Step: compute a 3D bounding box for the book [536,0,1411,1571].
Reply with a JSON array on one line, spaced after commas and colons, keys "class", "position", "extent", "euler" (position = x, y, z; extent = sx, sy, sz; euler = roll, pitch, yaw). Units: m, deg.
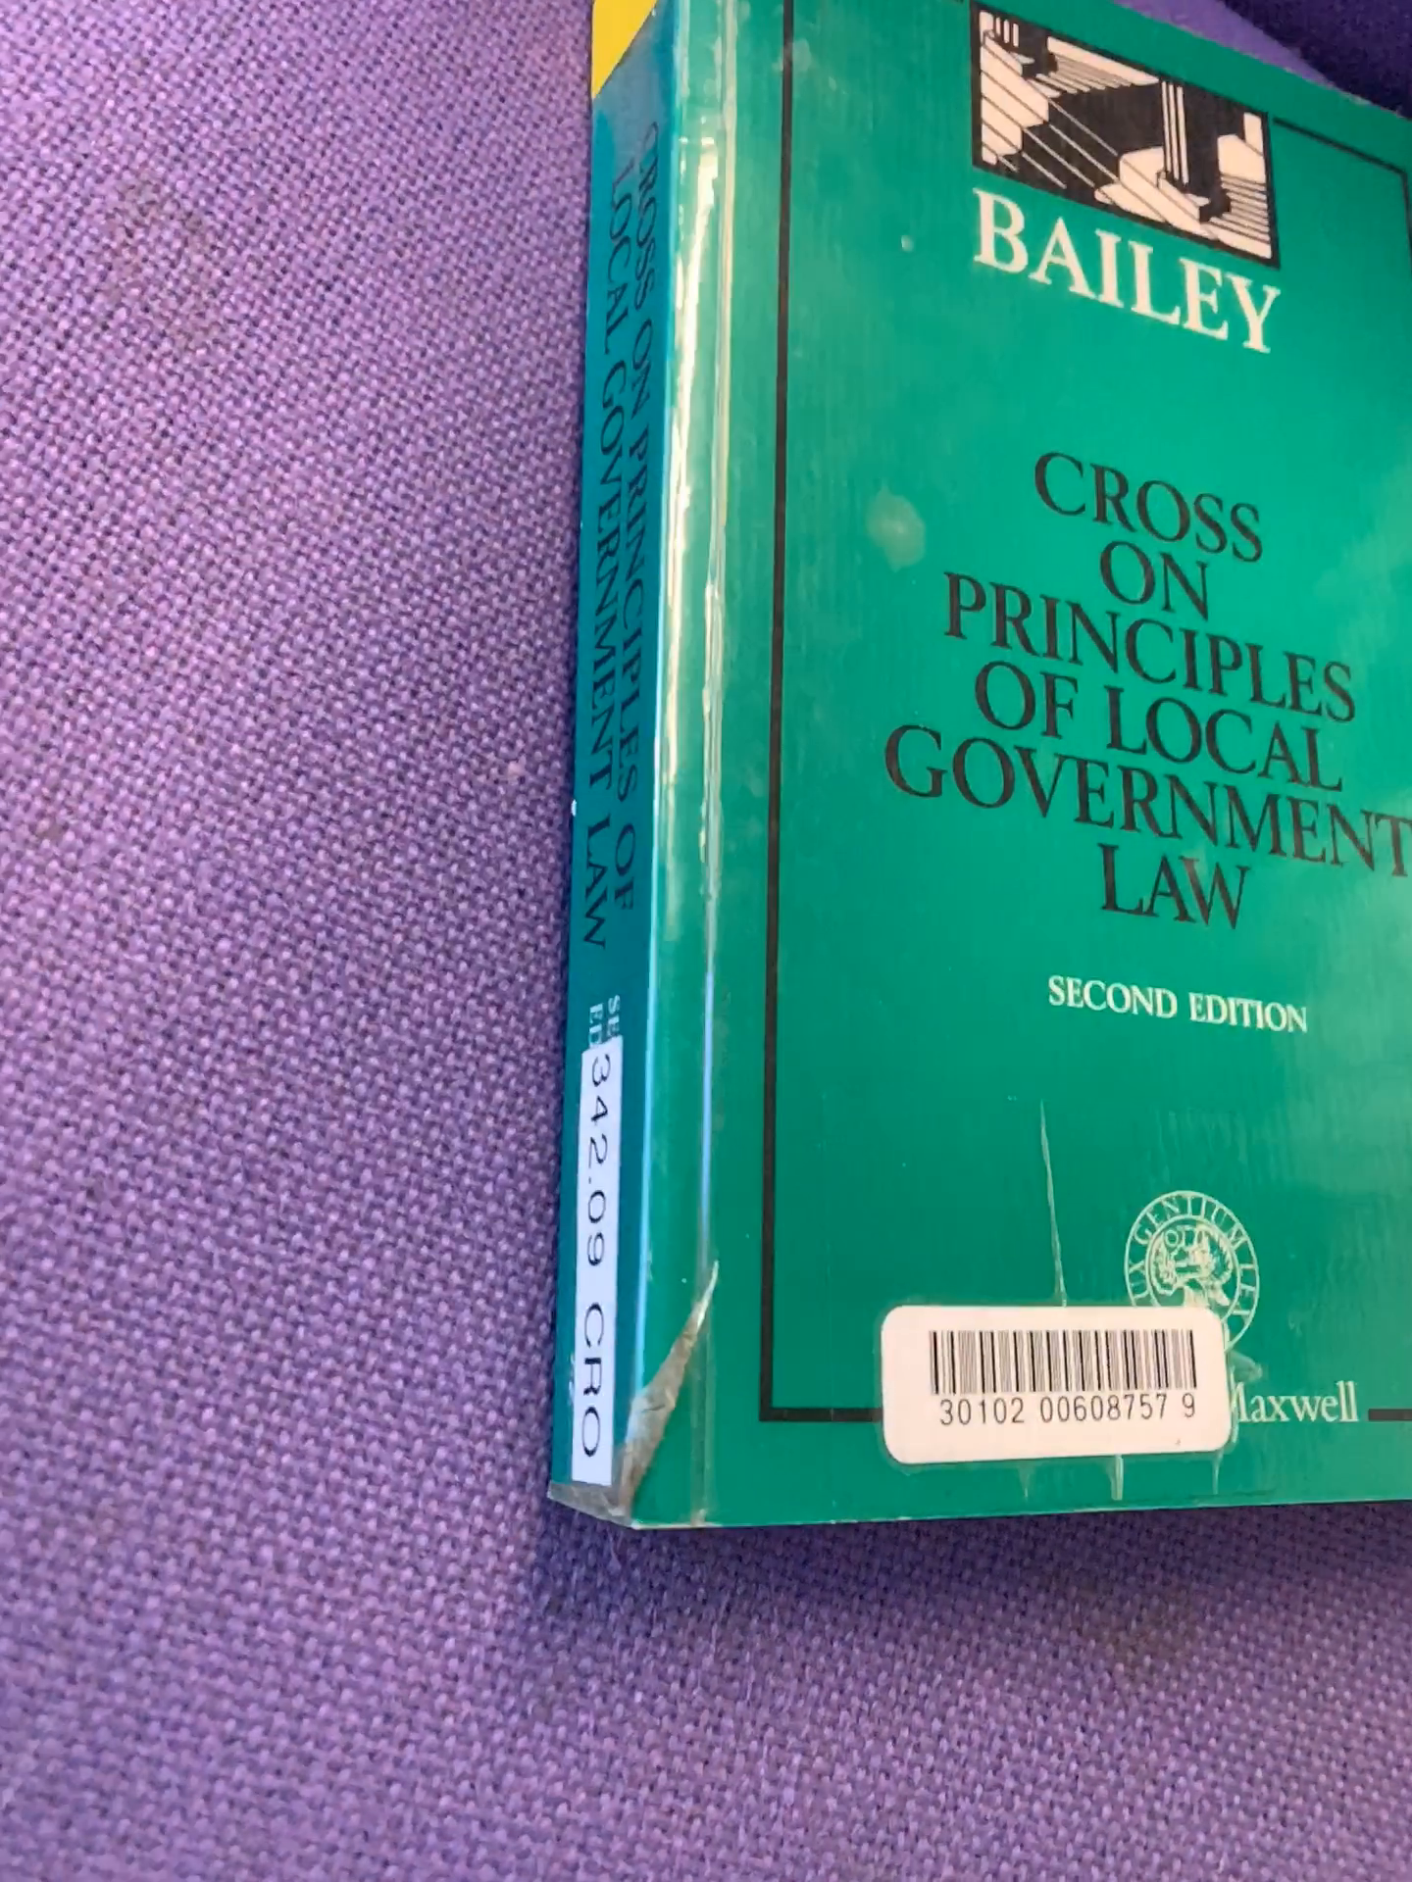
[{"class": "book", "position": [0.059, -0.038, 0.227], "extent": [0.160, 0.040, 0.236], "euler": [6, 72, -22]}]
